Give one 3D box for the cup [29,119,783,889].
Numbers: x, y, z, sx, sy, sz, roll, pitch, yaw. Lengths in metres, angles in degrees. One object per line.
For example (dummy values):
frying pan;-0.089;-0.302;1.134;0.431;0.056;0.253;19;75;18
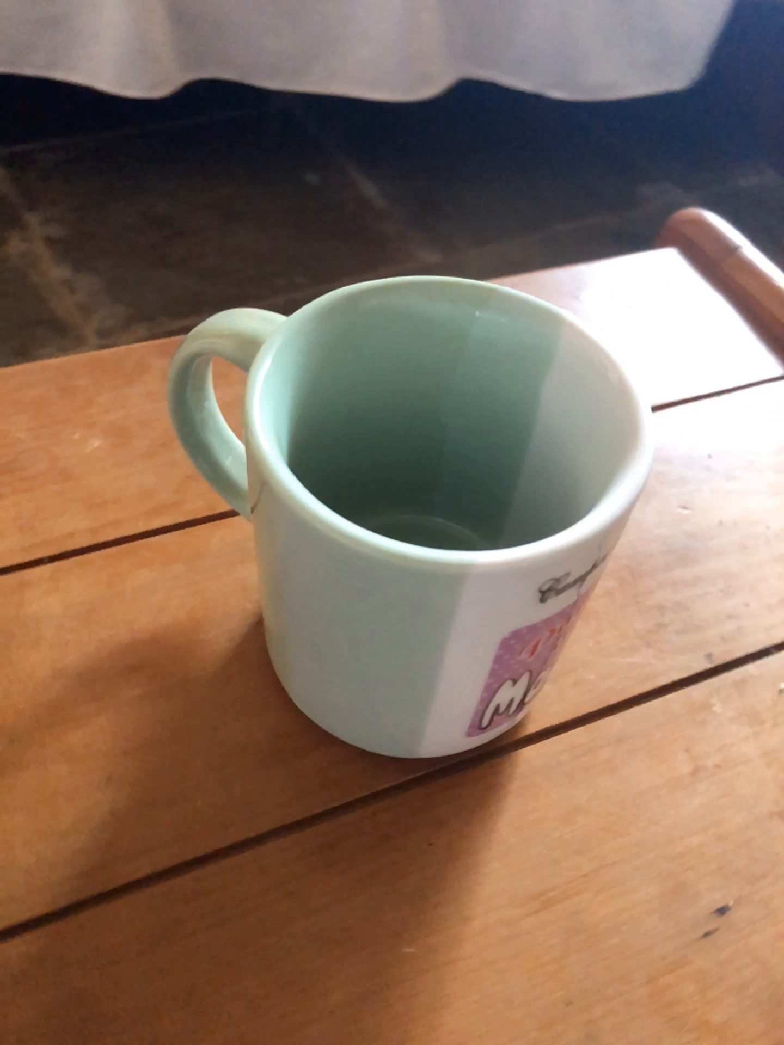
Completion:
cup;0.010;-0.007;0.190;0.130;0.089;0.080;29;53;16
